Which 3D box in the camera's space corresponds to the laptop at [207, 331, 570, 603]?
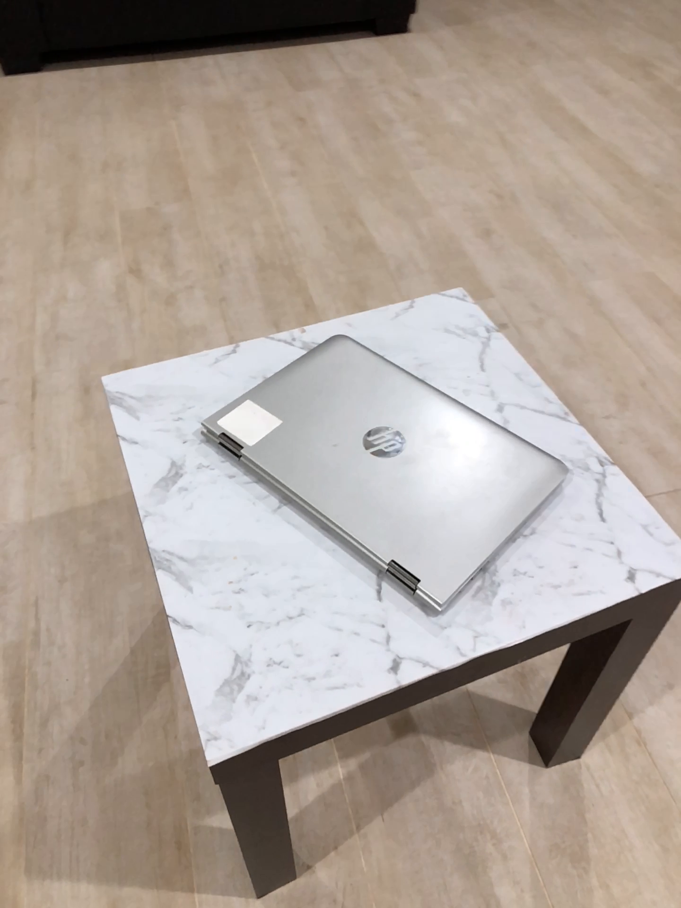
[{"bbox_3d":[0.042,-0.009,0.716,0.293,0.001,0.197,35,56,27],"label":"laptop"}]
